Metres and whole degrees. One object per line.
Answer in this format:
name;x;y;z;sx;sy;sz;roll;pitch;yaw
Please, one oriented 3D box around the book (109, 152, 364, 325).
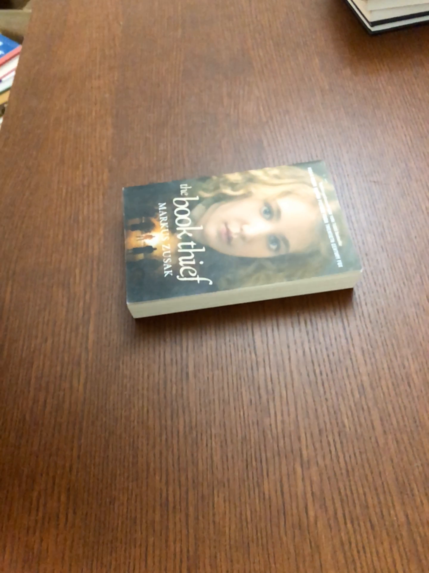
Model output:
book;0.012;-0.051;0.461;0.220;0.030;0.151;-8;58;0
